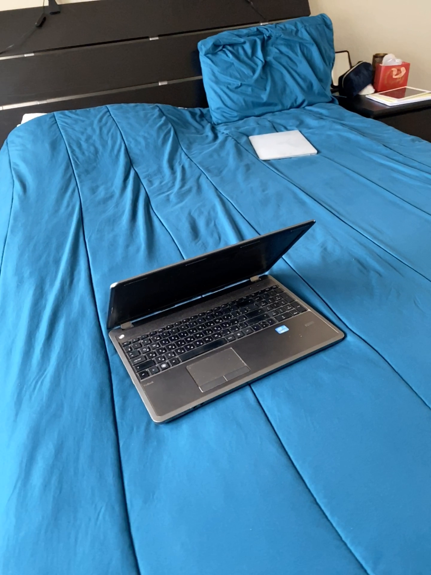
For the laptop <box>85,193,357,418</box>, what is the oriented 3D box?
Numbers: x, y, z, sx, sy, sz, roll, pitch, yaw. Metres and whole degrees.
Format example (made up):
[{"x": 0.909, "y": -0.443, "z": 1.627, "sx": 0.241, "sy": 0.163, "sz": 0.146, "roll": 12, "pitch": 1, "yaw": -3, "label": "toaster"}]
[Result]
[{"x": 0.007, "y": 0.004, "z": 0.772, "sx": 0.369, "sy": 0.192, "sz": 0.256, "roll": -20, "pitch": 36, "yaw": -21, "label": "laptop"}]
